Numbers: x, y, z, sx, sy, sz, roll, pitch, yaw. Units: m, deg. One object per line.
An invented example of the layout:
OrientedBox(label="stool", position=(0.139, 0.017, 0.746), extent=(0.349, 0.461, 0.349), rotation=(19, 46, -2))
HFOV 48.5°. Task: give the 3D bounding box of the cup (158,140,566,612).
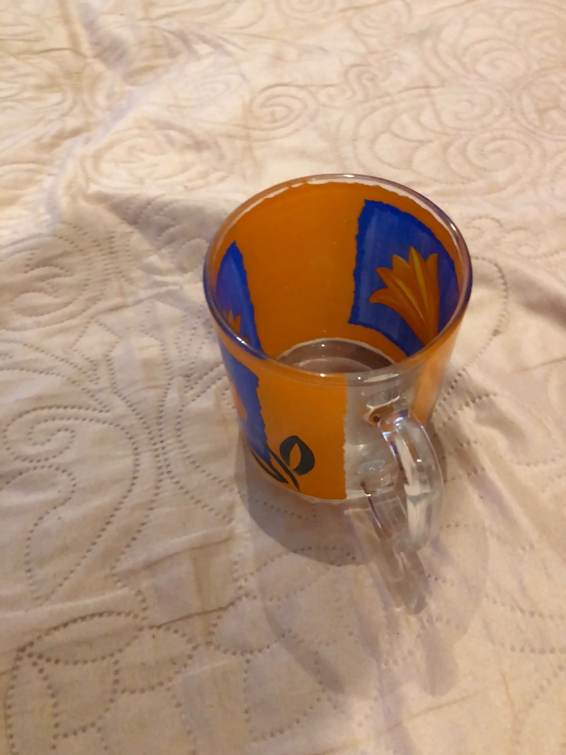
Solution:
OrientedBox(label="cup", position=(0.018, 0.000, 0.212), extent=(0.080, 0.090, 0.111), rotation=(-18, 56, -6))
